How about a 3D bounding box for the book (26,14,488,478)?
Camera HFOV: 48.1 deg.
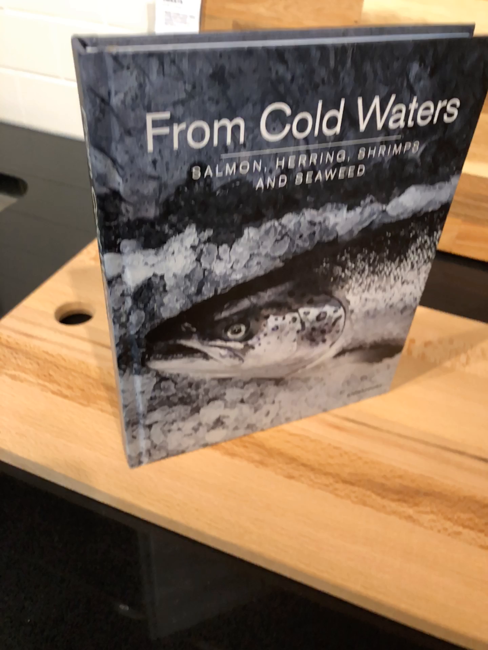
[{"bbox_3d":[0.023,-0.031,0.280,0.213,0.219,0.029,-12,41,-20],"label":"book"}]
